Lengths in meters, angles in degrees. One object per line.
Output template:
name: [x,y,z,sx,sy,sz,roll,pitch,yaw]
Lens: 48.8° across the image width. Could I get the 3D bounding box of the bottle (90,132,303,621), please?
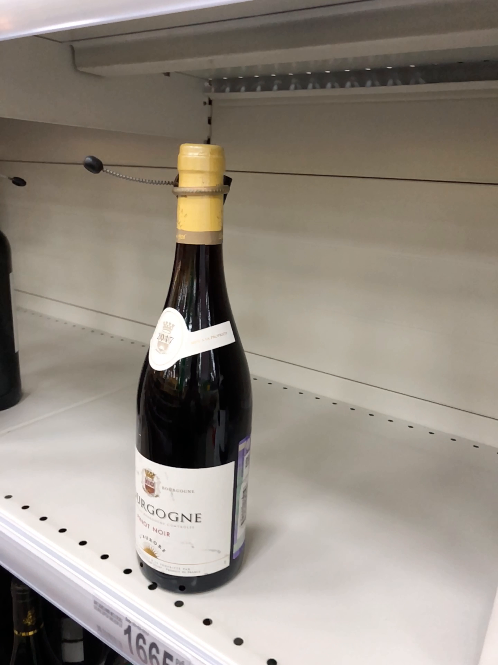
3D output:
bottle: [-0.037,0.024,0.368,0.090,0.289,0.090,3,15,-1]
